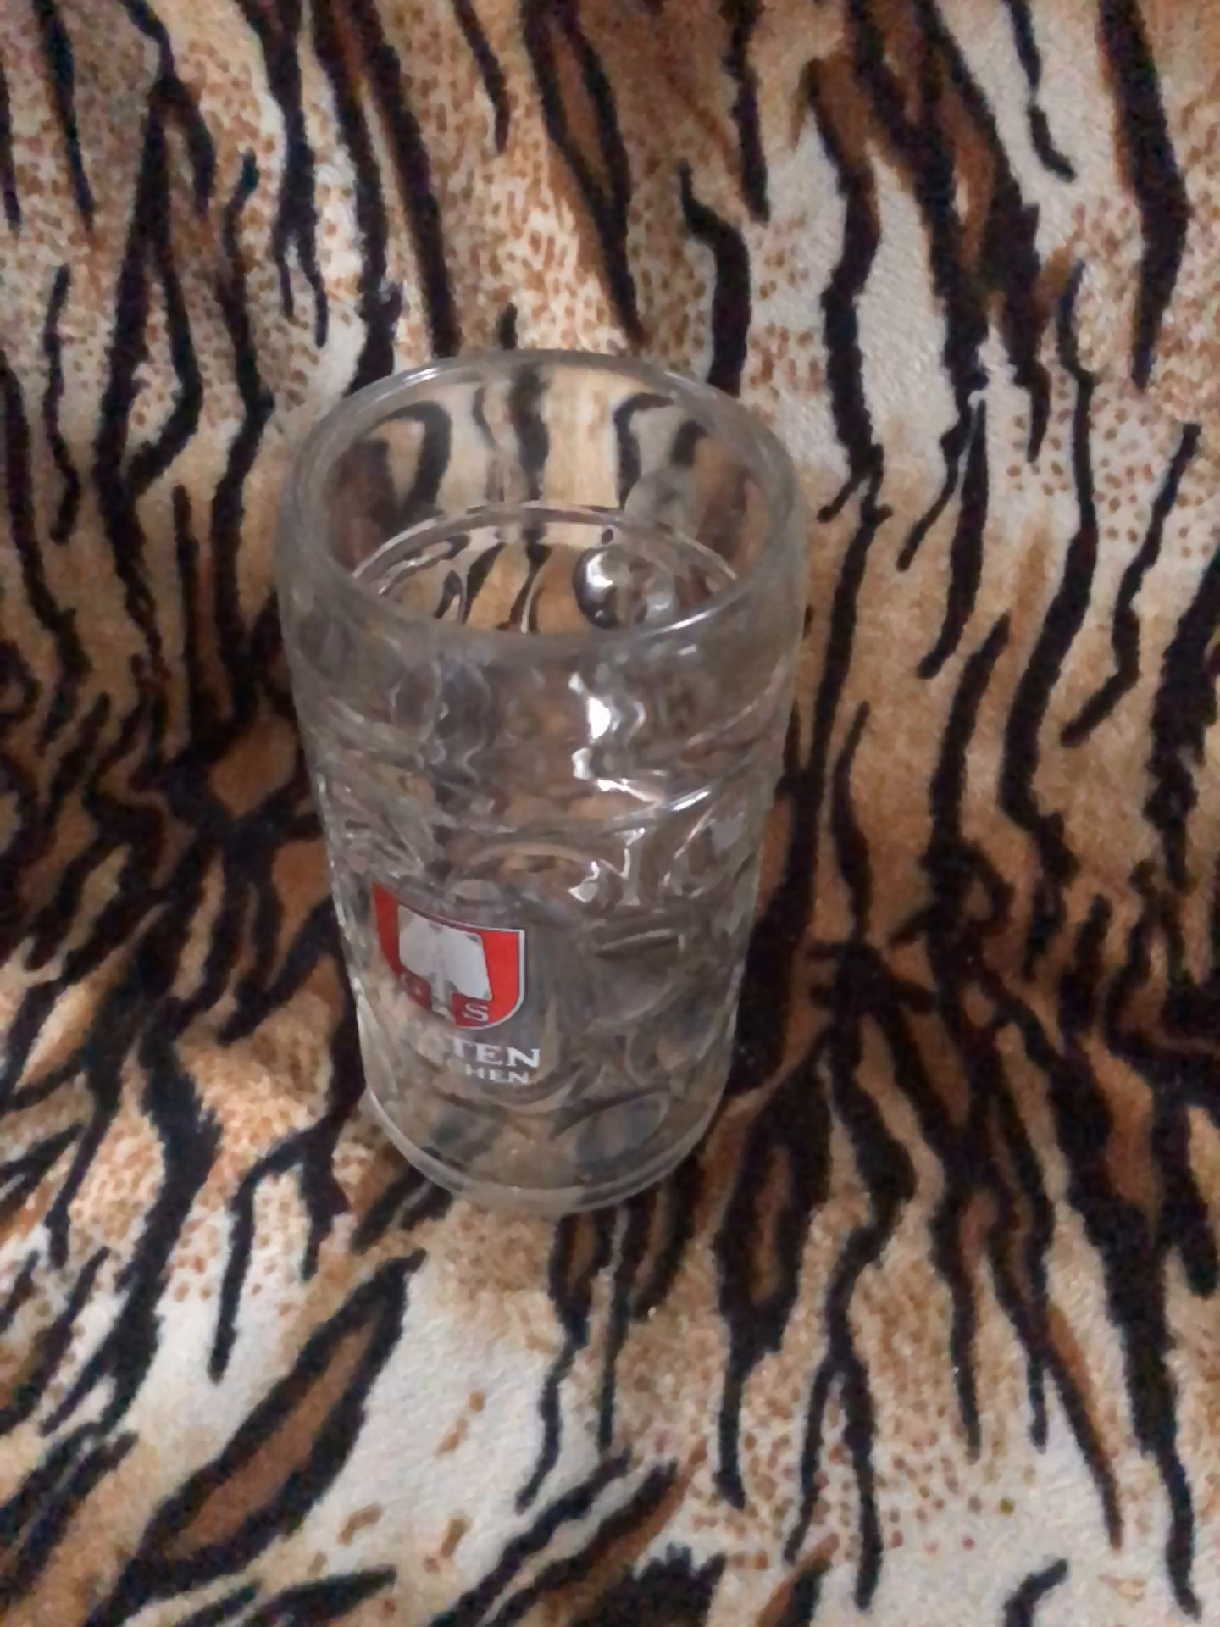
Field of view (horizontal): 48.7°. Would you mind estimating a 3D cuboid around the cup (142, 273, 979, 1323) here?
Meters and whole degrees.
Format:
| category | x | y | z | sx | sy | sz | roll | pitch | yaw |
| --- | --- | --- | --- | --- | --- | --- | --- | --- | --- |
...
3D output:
| category | x | y | z | sx | sy | sz | roll | pitch | yaw |
| --- | --- | --- | --- | --- | --- | --- | --- | --- | --- |
| cup | -0.001 | -0.006 | 0.347 | 0.120 | 0.194 | 0.150 | 18 | 44 | 18 |
